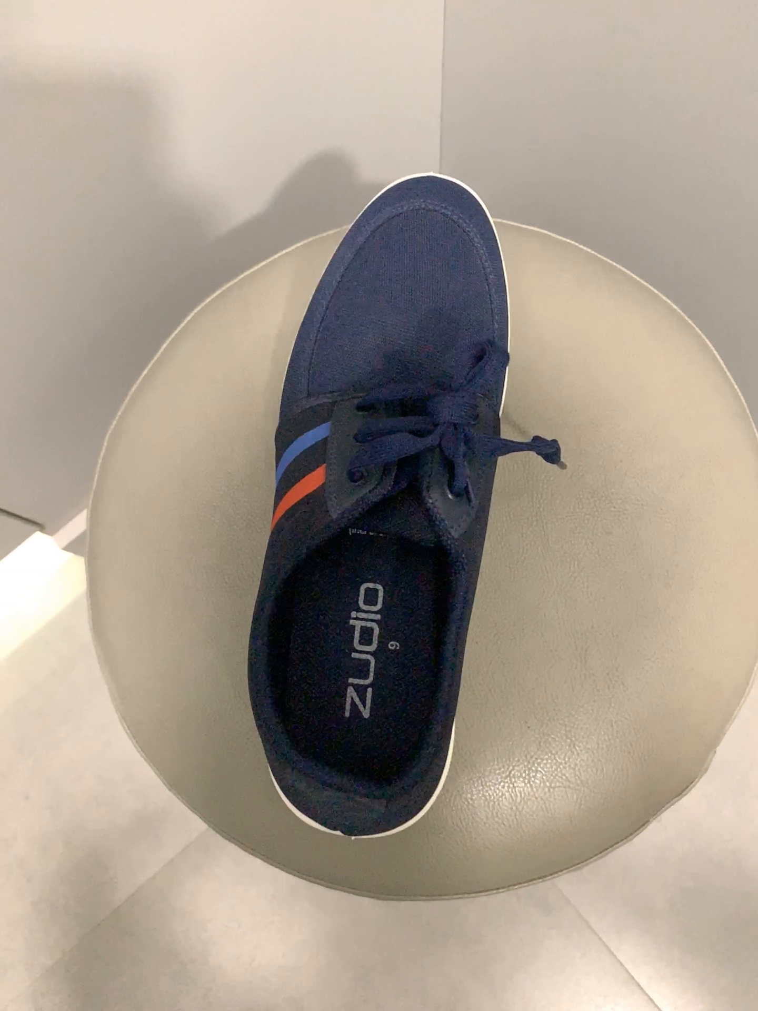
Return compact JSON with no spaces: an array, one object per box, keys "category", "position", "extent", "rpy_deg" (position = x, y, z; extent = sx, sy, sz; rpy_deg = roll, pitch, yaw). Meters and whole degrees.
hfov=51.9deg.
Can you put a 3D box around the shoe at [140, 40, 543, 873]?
[{"category":"shoe","position":[-0.004,-0.024,0.320],"extent":[0.100,0.100,0.290],"rpy_deg":[7,79,5]}]
